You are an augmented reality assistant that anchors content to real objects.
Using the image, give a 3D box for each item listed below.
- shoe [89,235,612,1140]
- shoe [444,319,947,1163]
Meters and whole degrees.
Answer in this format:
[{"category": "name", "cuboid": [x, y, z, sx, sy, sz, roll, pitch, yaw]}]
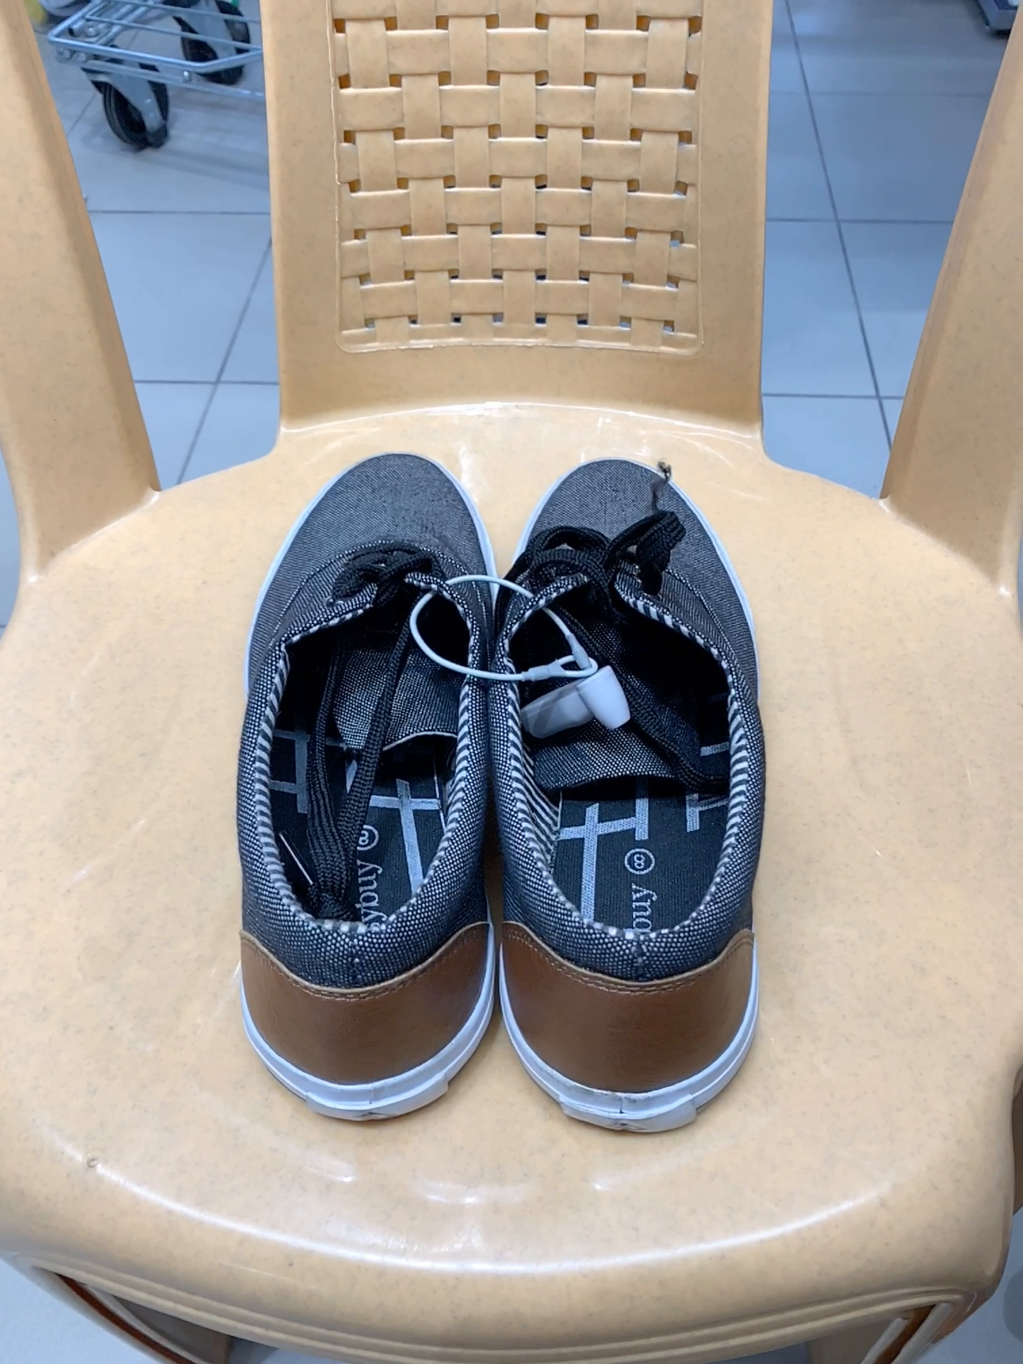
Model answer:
[{"category": "shoe", "cuboid": [-0.037, -0.015, 0.325, 0.100, 0.110, 0.261, -4, 52, -1]}, {"category": "shoe", "cuboid": [0.043, 0.005, 0.358, 0.110, 0.110, 0.271, -1, 52, 2]}]
